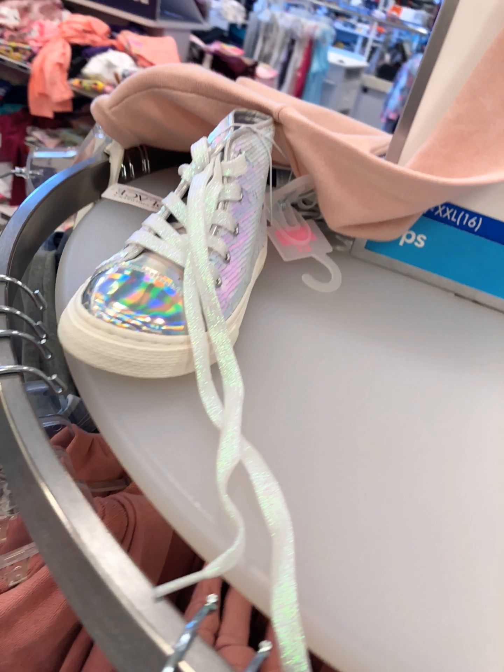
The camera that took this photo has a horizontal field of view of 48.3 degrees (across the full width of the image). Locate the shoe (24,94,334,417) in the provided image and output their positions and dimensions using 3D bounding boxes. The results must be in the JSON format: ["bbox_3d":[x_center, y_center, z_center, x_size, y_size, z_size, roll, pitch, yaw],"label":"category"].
[{"bbox_3d":[-0.029,-0.068,0.338,0.090,0.105,0.212,21,32,9],"label":"shoe"}]
